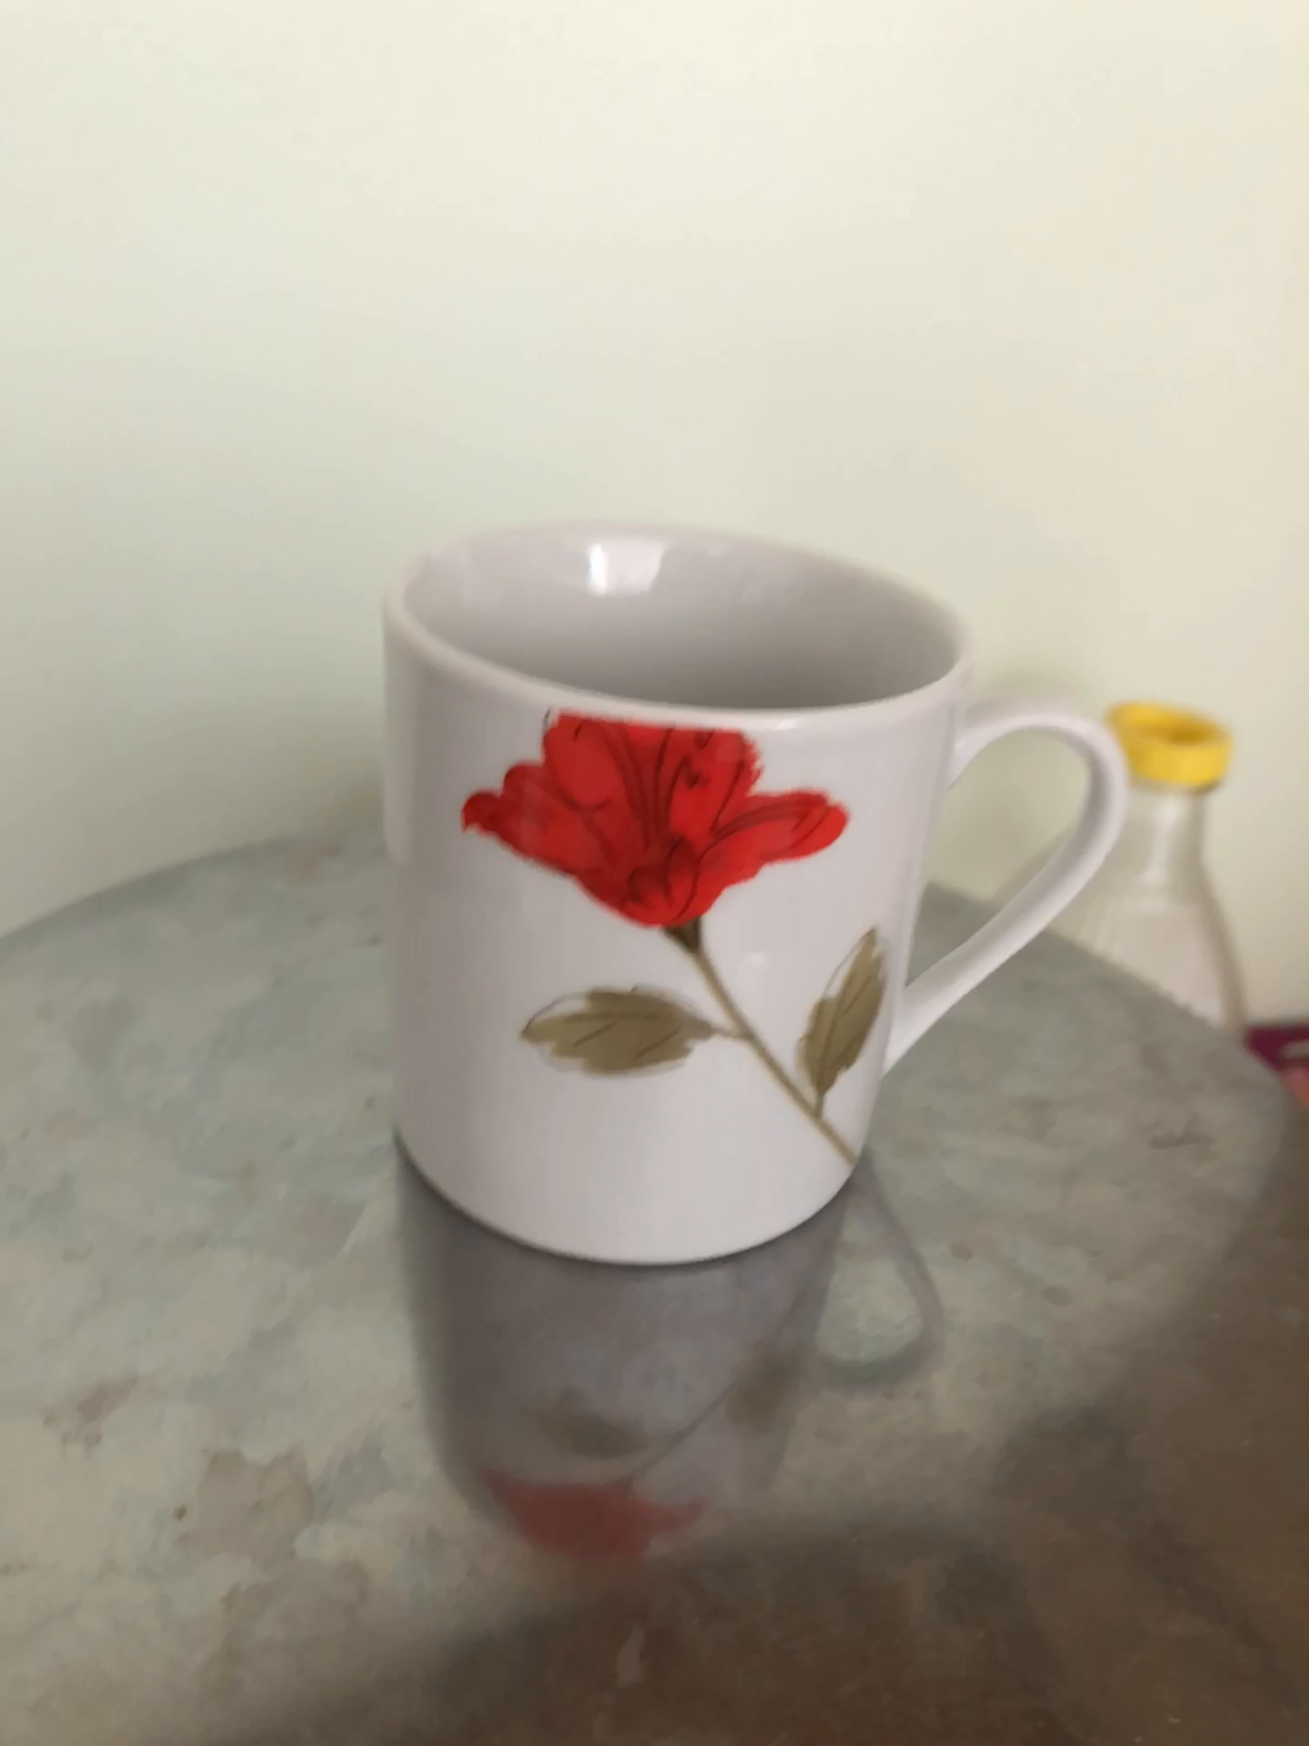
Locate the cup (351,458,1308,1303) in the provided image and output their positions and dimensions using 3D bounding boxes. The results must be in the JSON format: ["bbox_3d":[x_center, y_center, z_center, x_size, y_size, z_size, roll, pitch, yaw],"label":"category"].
[{"bbox_3d":[0.011,-0.002,0.151,0.080,0.060,0.060,1,28,-11],"label":"cup"}]
